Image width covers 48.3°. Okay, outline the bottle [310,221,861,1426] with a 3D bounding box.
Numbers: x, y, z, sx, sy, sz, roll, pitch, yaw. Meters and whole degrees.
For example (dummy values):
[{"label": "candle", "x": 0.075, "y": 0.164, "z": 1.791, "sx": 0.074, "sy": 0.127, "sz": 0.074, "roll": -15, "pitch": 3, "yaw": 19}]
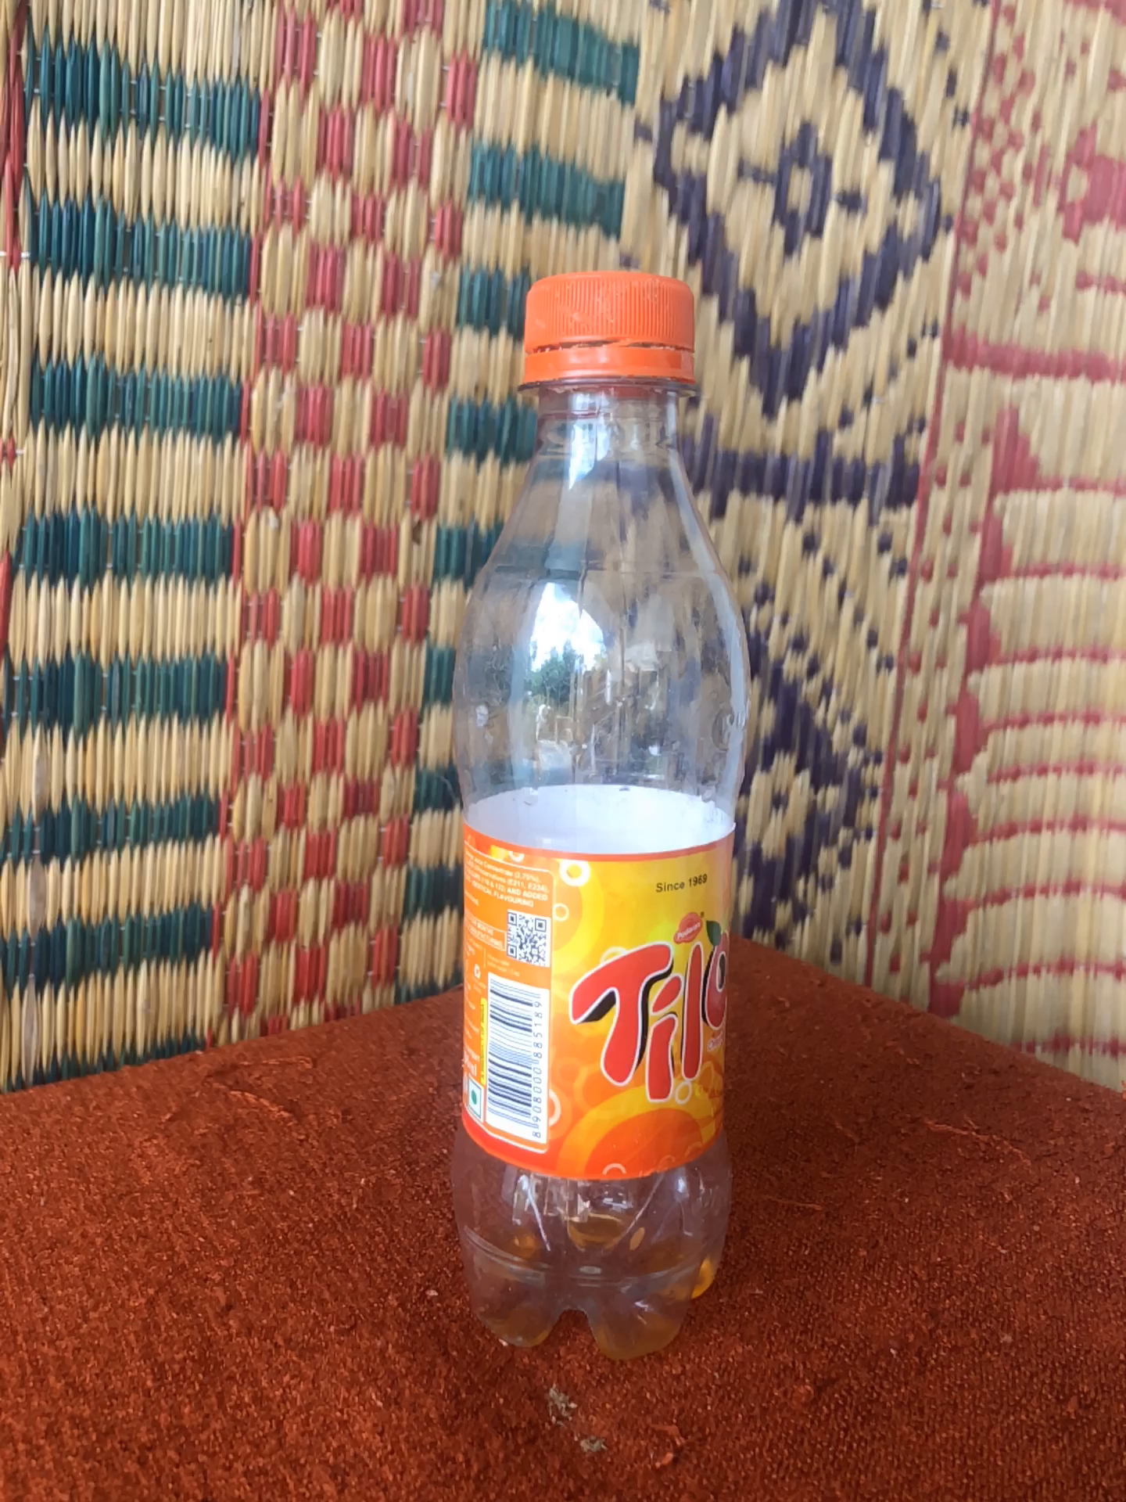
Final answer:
[{"label": "bottle", "x": 0.000, "y": 0.013, "z": 0.230, "sx": 0.070, "sy": 0.189, "sz": 0.050, "roll": -3, "pitch": 14, "yaw": -34}]
